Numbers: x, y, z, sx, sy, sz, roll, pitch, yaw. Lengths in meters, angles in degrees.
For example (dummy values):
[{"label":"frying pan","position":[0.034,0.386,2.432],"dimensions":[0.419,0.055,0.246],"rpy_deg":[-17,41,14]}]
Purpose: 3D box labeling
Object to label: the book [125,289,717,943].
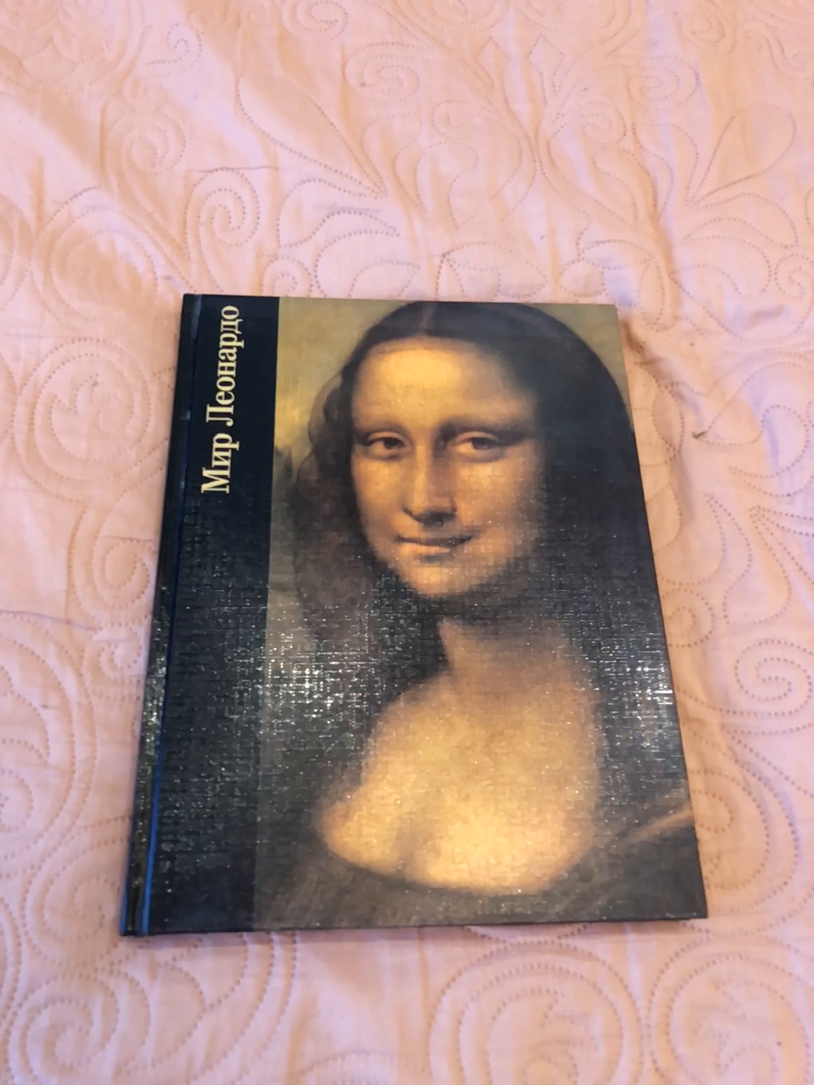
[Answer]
[{"label":"book","position":[0.002,0.016,0.379],"dimensions":[0.210,0.030,0.273],"rpy_deg":[0,68,-6]}]
